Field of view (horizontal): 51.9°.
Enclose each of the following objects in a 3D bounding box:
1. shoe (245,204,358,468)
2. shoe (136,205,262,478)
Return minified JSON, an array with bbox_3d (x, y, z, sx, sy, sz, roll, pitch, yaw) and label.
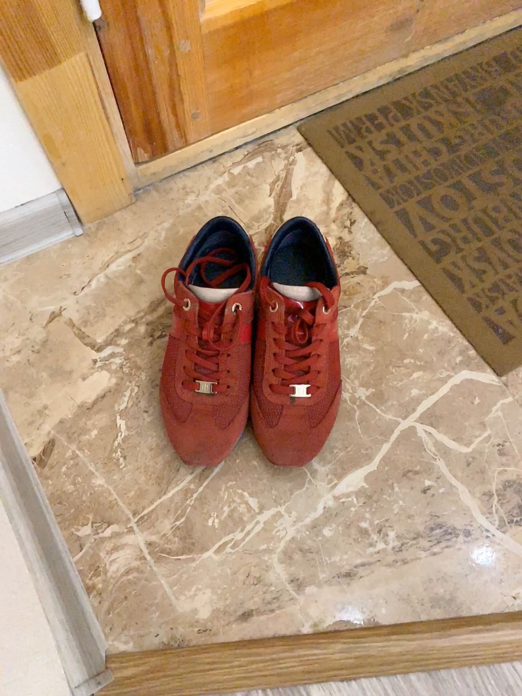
[{"bbox_3d":[0.033,-0.013,0.520,0.090,0.090,0.240,0,66,0],"label":"shoe"},{"bbox_3d":[-0.049,-0.008,0.509,0.090,0.090,0.240,2,66,0],"label":"shoe"}]
